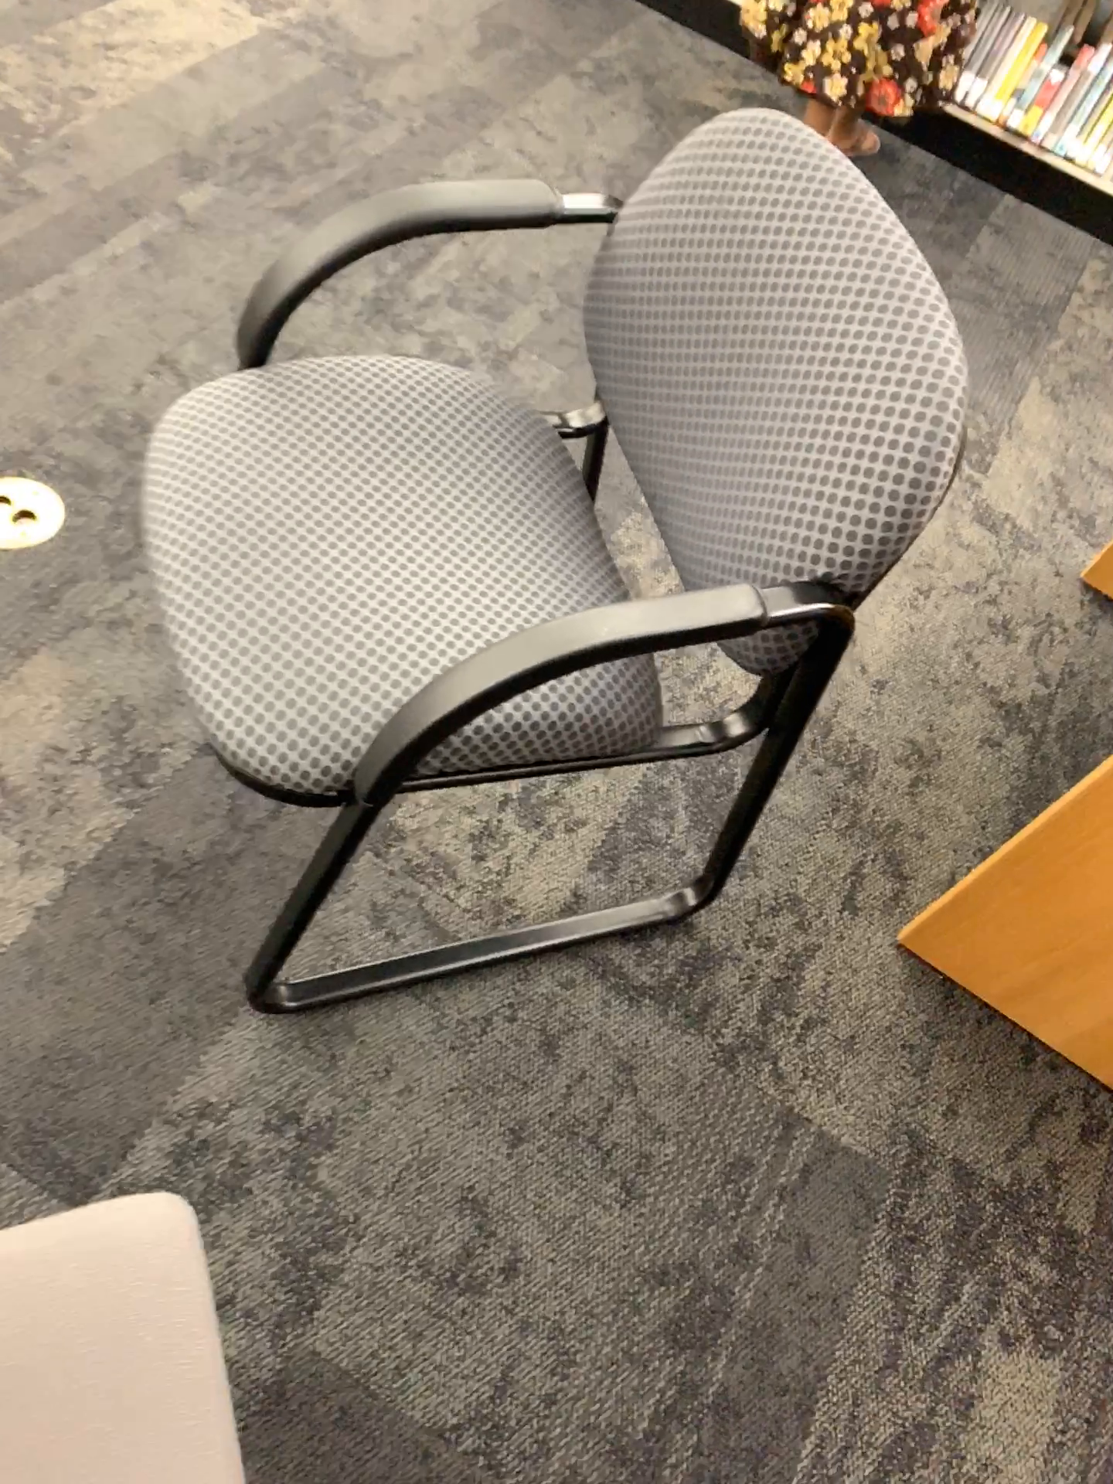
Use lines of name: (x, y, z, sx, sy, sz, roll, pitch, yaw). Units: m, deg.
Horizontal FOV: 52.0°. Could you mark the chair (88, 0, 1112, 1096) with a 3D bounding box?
chair: (-0.015, -0.185, 1.158, 0.721, 0.678, 0.731, -8, 60, -21)
